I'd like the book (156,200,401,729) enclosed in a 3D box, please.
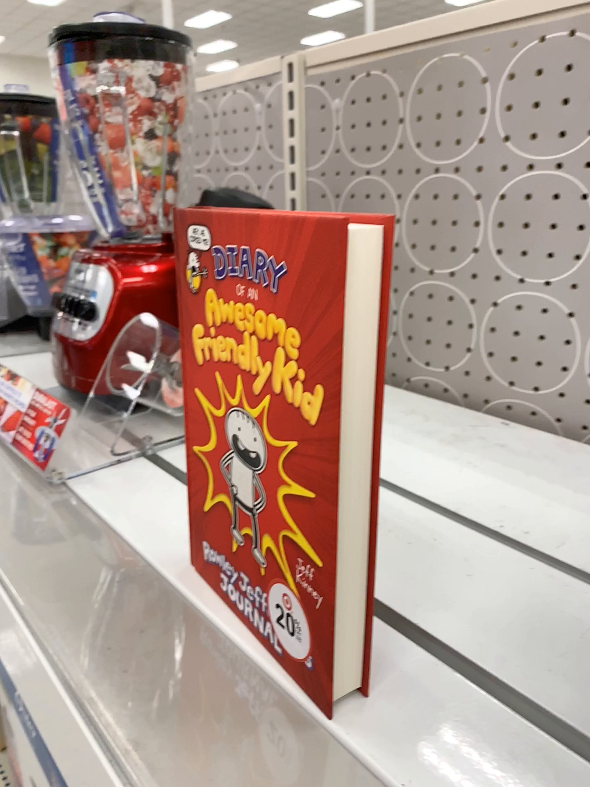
[{"bbox_3d":[-0.017,0.020,0.288,0.030,0.209,0.140,-11,21,-34],"label":"book"}]
